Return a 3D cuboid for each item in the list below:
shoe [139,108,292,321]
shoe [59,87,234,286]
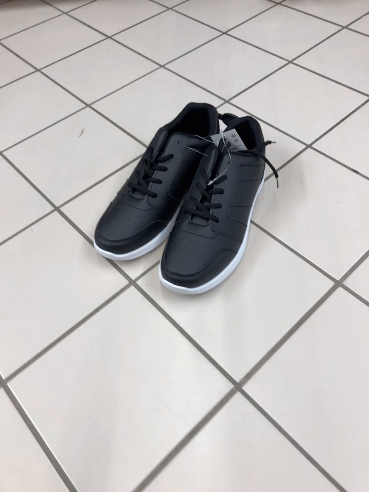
[{"bbox_3d":[0.057,-0.058,0.596,0.110,0.119,0.292,17,56,17],"label":"shoe"},{"bbox_3d":[-0.038,-0.103,0.623,0.110,0.119,0.291,22,57,20],"label":"shoe"}]
